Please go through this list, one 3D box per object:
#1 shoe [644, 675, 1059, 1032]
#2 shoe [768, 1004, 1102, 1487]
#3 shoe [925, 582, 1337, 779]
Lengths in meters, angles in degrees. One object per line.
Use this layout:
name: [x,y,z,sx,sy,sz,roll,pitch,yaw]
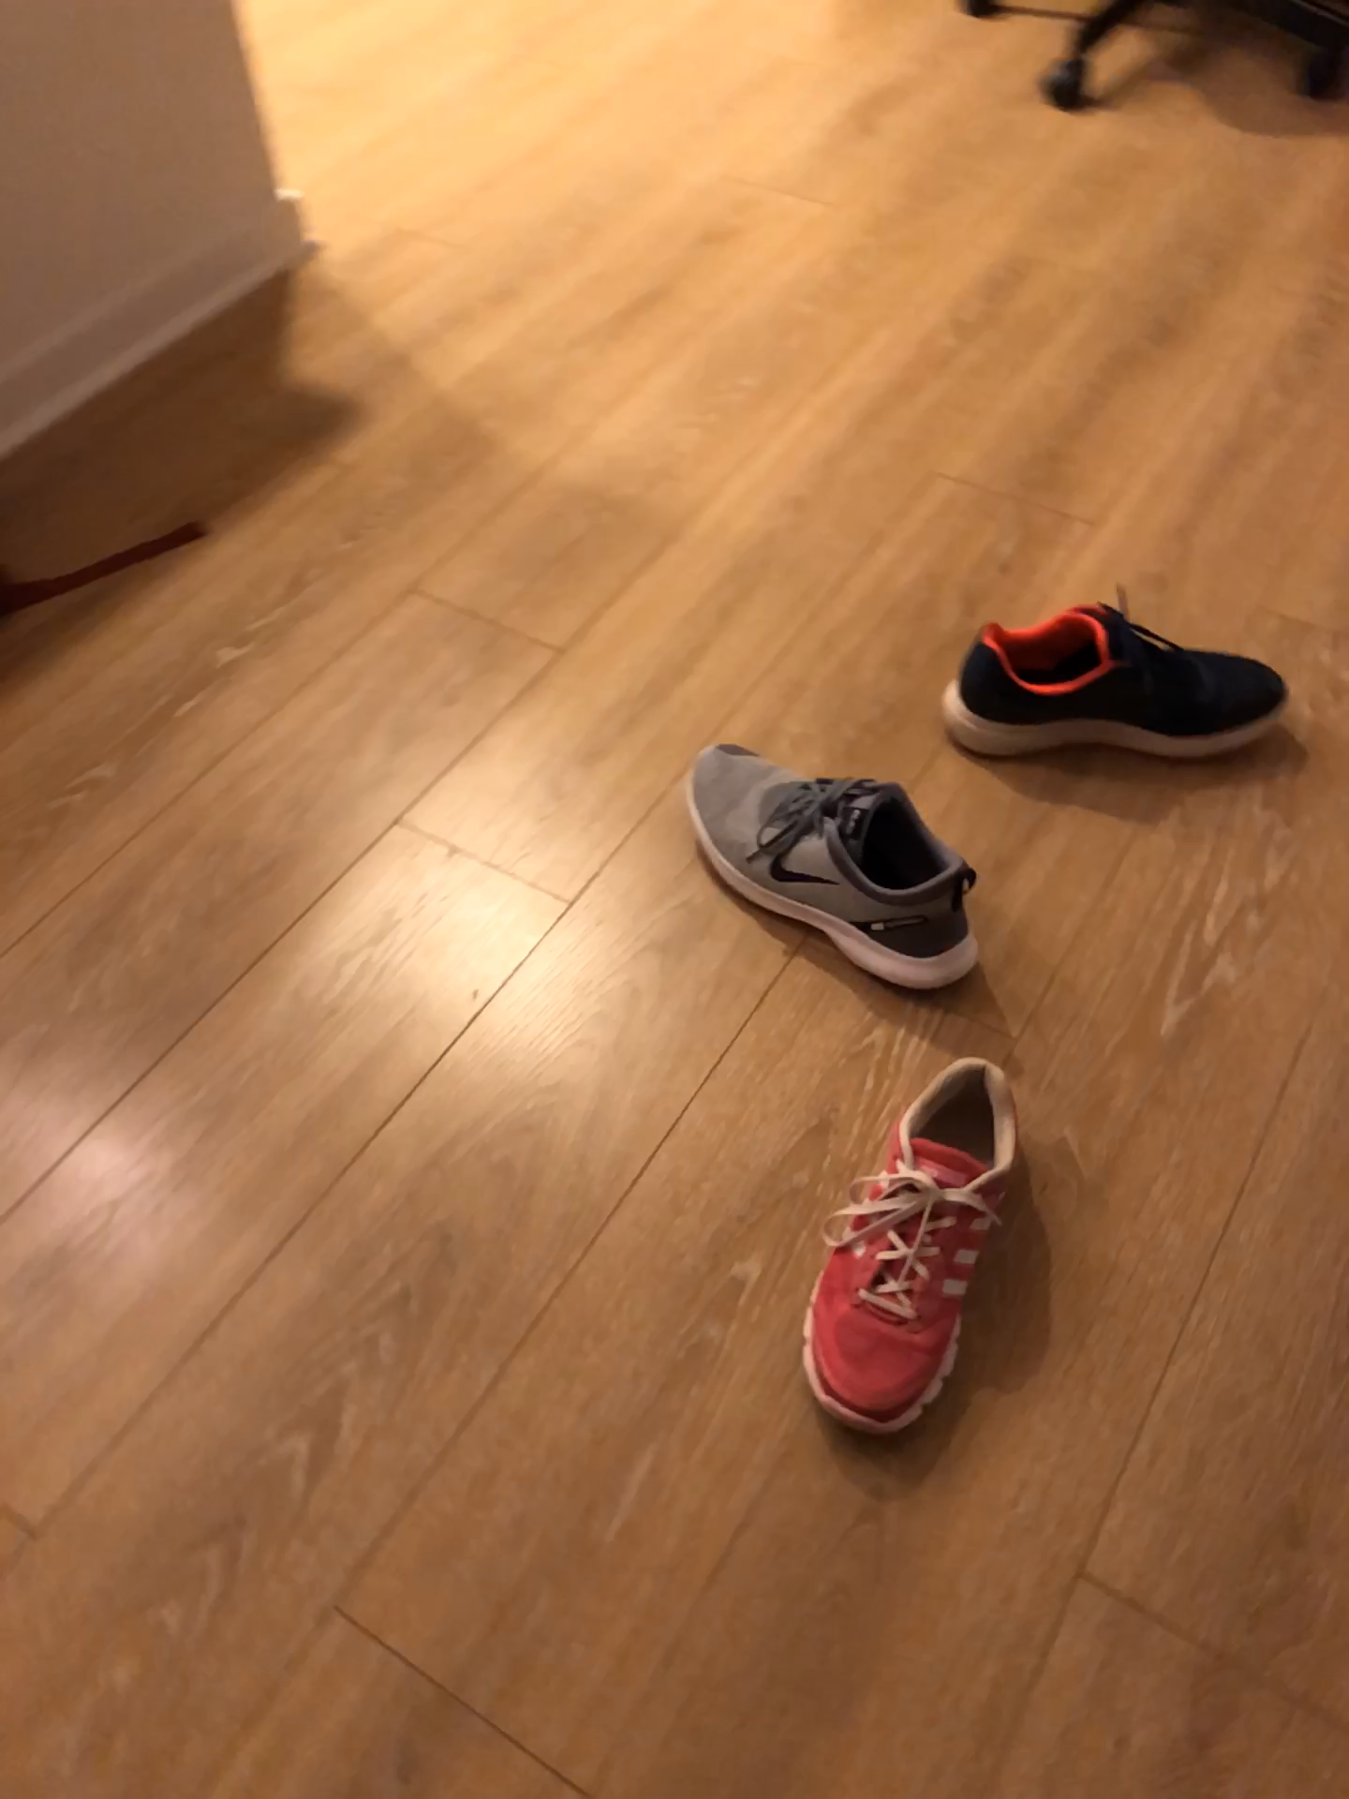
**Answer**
shoe: [0.135,-0.046,1.204,0.130,0.080,0.321,-38,59,-26]
shoe: [0.179,0.223,0.999,0.130,0.090,0.281,19,54,17]
shoe: [0.399,-0.197,1.334,0.320,0.100,0.130,-3,51,0]
